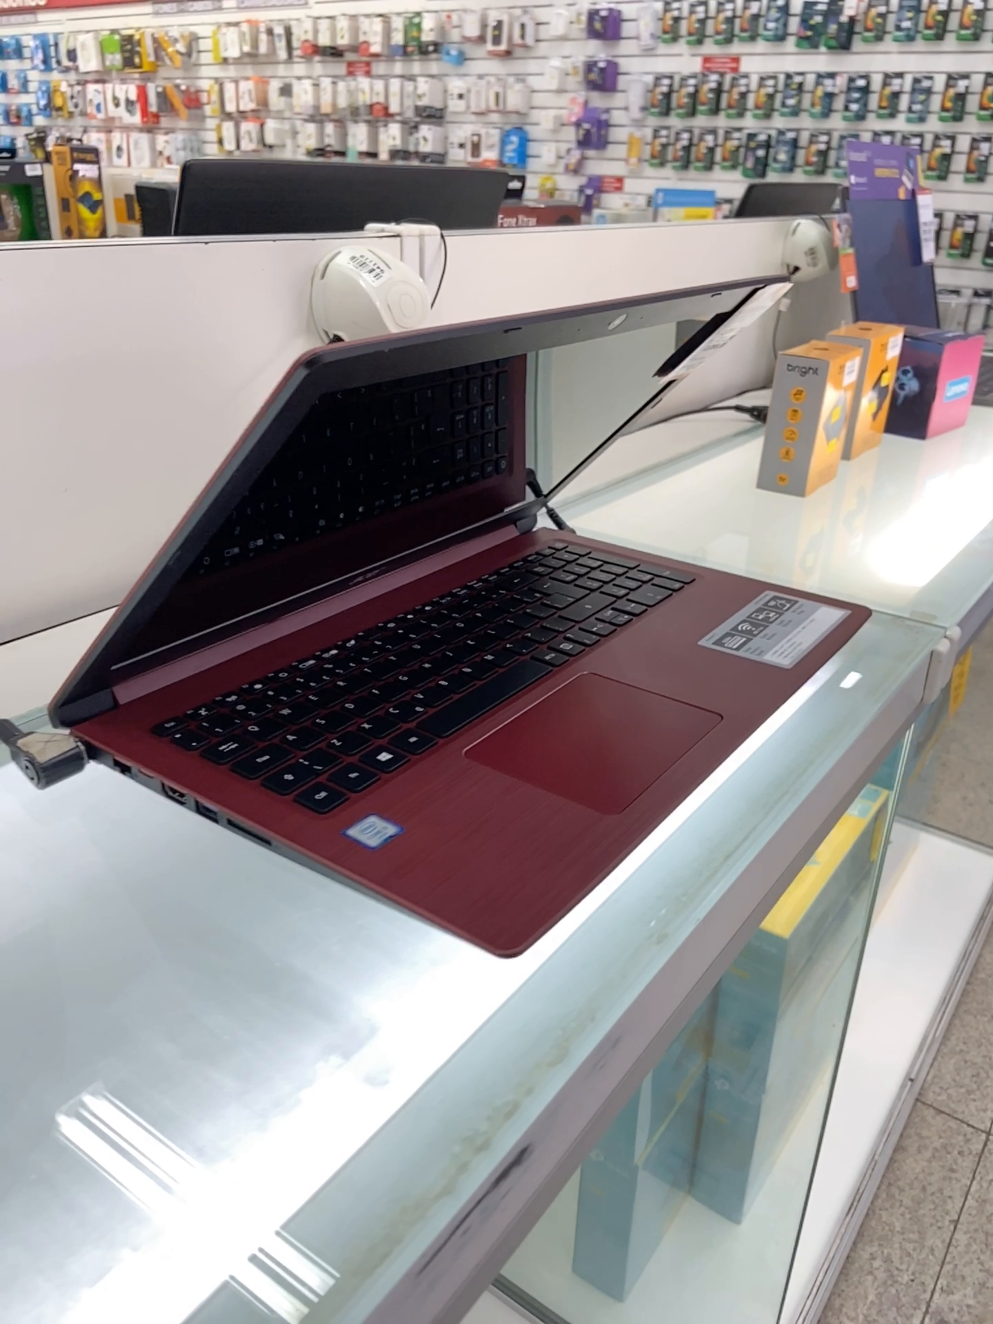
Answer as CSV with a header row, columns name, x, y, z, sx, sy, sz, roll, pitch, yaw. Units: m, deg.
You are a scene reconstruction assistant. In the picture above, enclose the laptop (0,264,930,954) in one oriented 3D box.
name,x,y,z,sx,sy,sz,roll,pitch,yaw
laptop,0.017,-0.080,0.488,0.238,0.179,0.369,18,30,31
